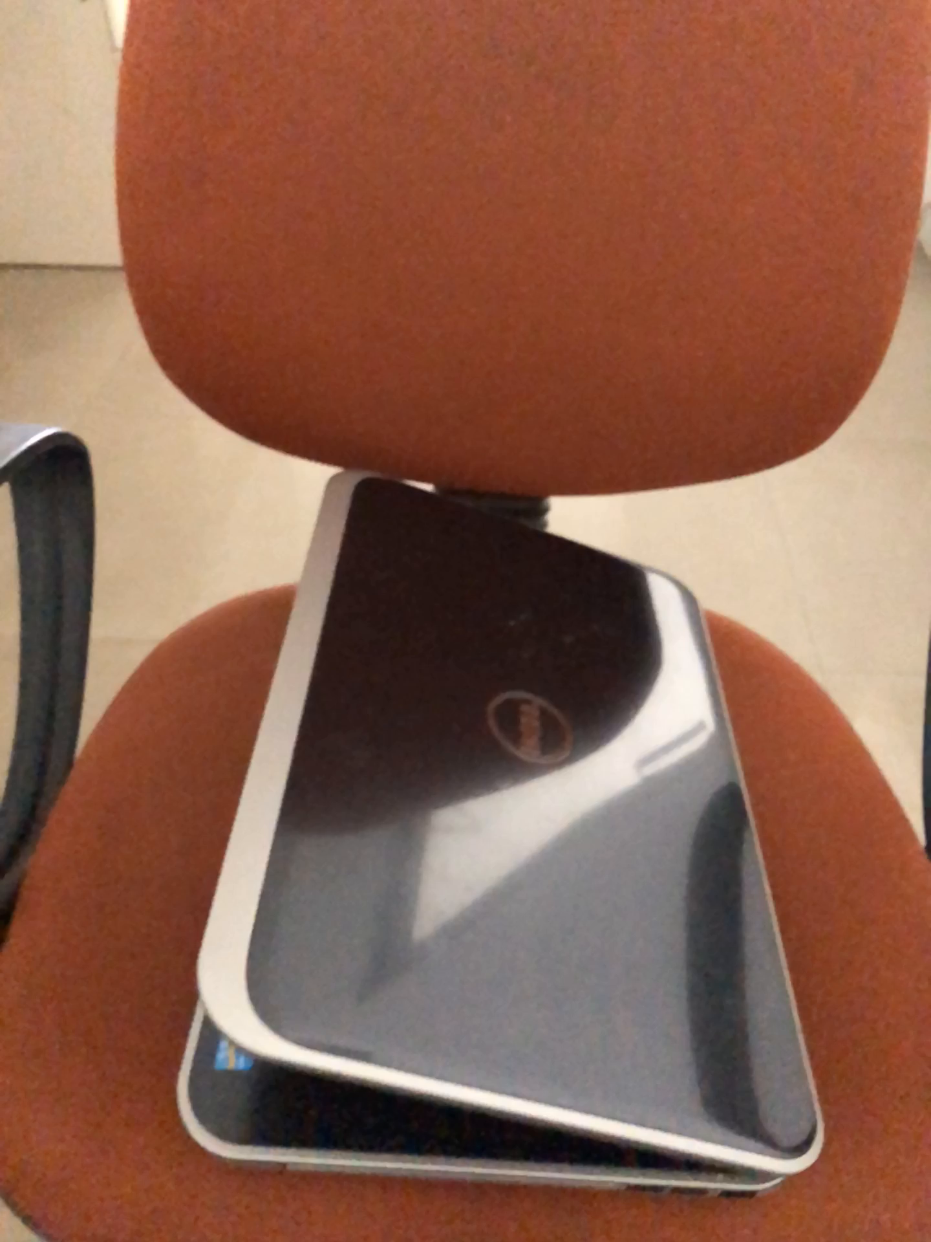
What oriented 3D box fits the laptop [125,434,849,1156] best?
[{"bbox_3d":[0.014,0.046,0.507,0.233,0.090,0.369,4,39,-1],"label":"laptop"}]
